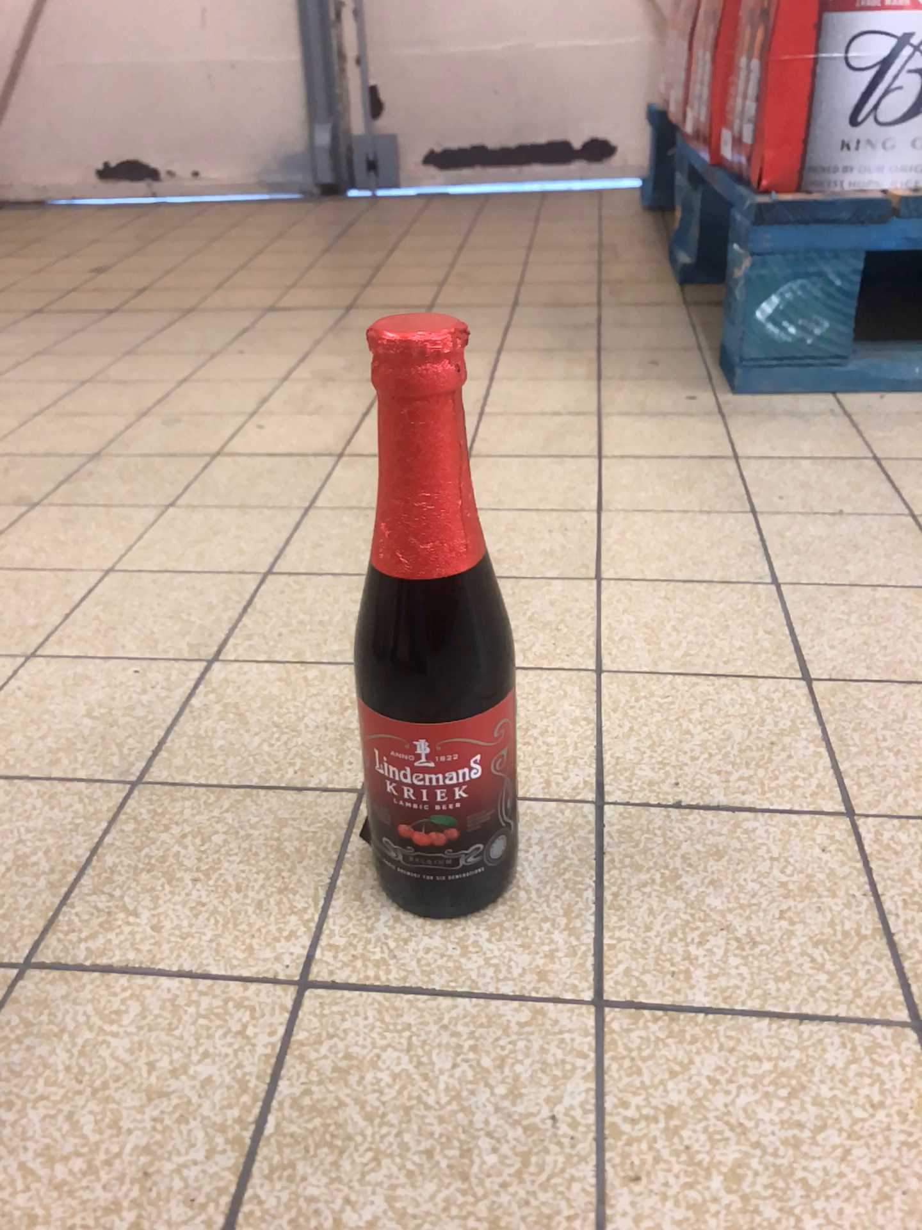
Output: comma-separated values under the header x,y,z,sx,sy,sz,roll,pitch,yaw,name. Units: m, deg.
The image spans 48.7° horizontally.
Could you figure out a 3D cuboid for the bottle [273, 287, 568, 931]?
x,y,z,sx,sy,sz,roll,pitch,yaw,name
-0.004,0.001,0.337,0.070,0.199,0.070,-2,28,1,bottle
